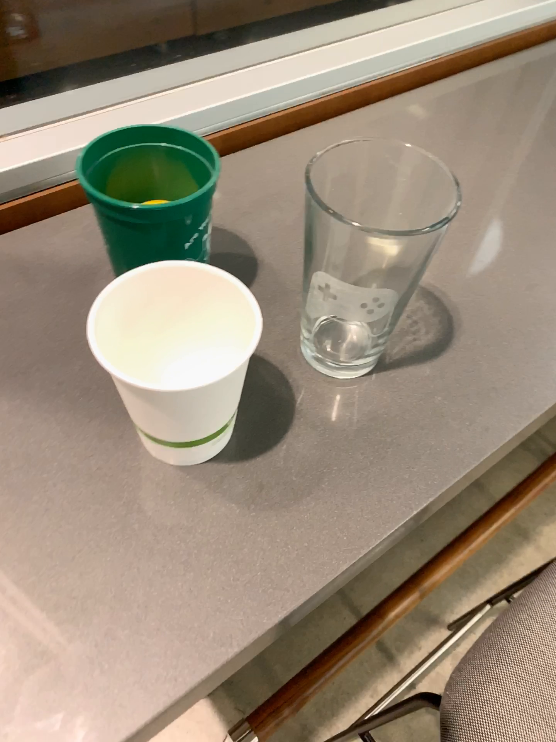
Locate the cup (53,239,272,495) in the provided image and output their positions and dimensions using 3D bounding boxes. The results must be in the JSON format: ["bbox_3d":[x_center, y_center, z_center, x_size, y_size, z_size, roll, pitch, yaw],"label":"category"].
[{"bbox_3d":[-0.057,0.001,0.335,0.090,0.110,0.090,2,52,-3],"label":"cup"}]

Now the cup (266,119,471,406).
[{"bbox_3d":[0.052,-0.064,0.369,0.090,0.139,0.090,2,52,-3],"label":"cup"}]

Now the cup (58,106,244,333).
[{"bbox_3d":[-0.081,-0.106,0.407,0.090,0.110,0.090,2,52,-3],"label":"cup"}]
